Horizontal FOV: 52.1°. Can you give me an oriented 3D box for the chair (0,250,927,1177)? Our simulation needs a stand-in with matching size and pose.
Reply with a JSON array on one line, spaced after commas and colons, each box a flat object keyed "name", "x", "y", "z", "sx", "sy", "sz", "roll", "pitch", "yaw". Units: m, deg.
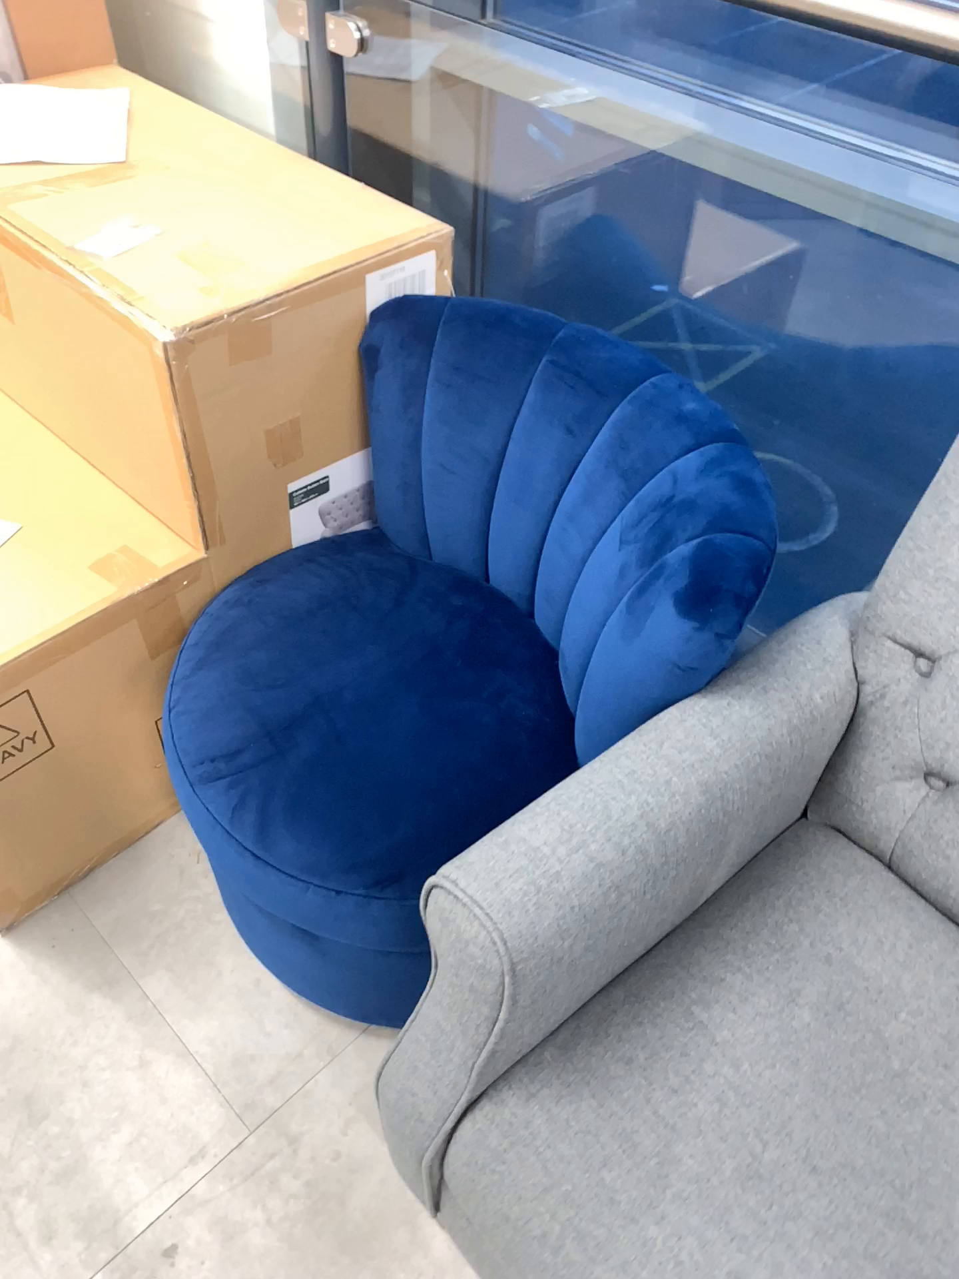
[{"name": "chair", "x": -0.045, "y": 0.053, "z": 1.199, "sx": 0.662, "sy": 0.674, "sz": 0.644, "roll": -26, "pitch": 53, "yaw": -25}]
